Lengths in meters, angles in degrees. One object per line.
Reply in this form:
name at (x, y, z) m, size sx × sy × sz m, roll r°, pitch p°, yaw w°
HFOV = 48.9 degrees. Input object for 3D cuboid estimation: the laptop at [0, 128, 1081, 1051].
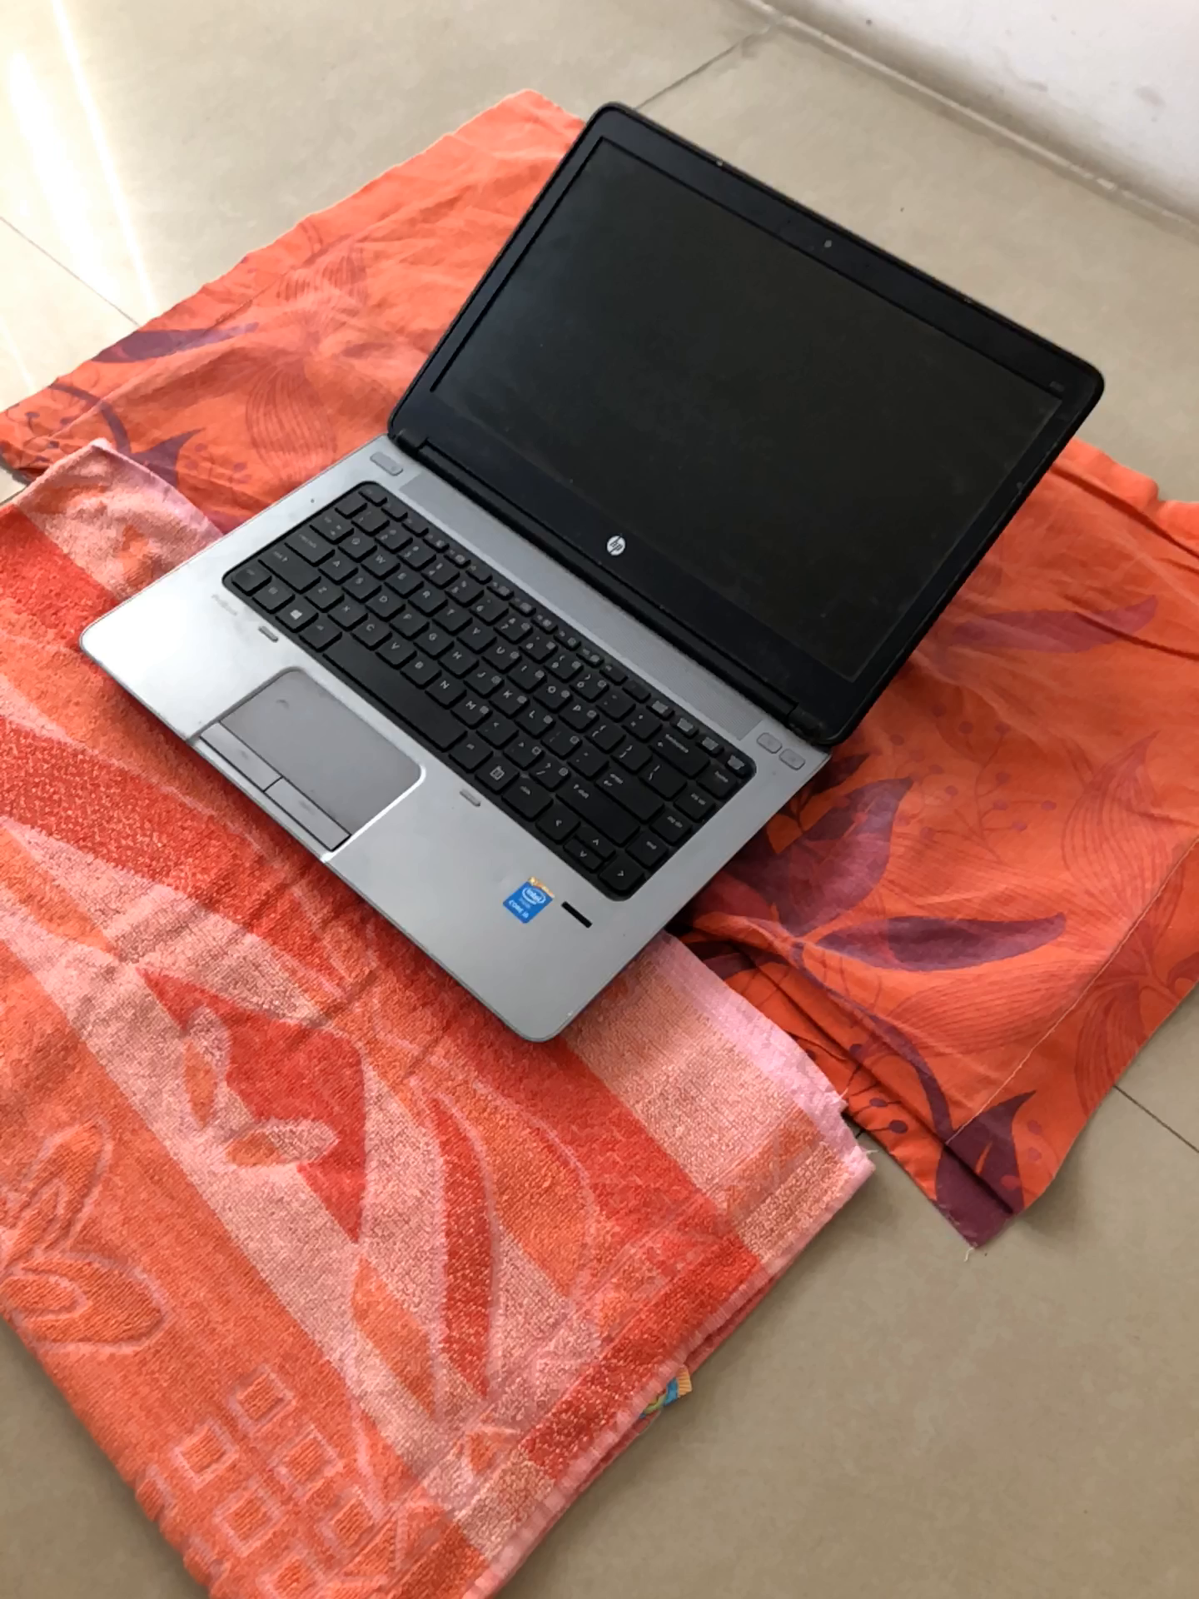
laptop at (-0.014, -0.140, 0.678) m, size 0.328 × 0.111 × 0.411 m, roll 37°, pitch 63°, yaw 18°
